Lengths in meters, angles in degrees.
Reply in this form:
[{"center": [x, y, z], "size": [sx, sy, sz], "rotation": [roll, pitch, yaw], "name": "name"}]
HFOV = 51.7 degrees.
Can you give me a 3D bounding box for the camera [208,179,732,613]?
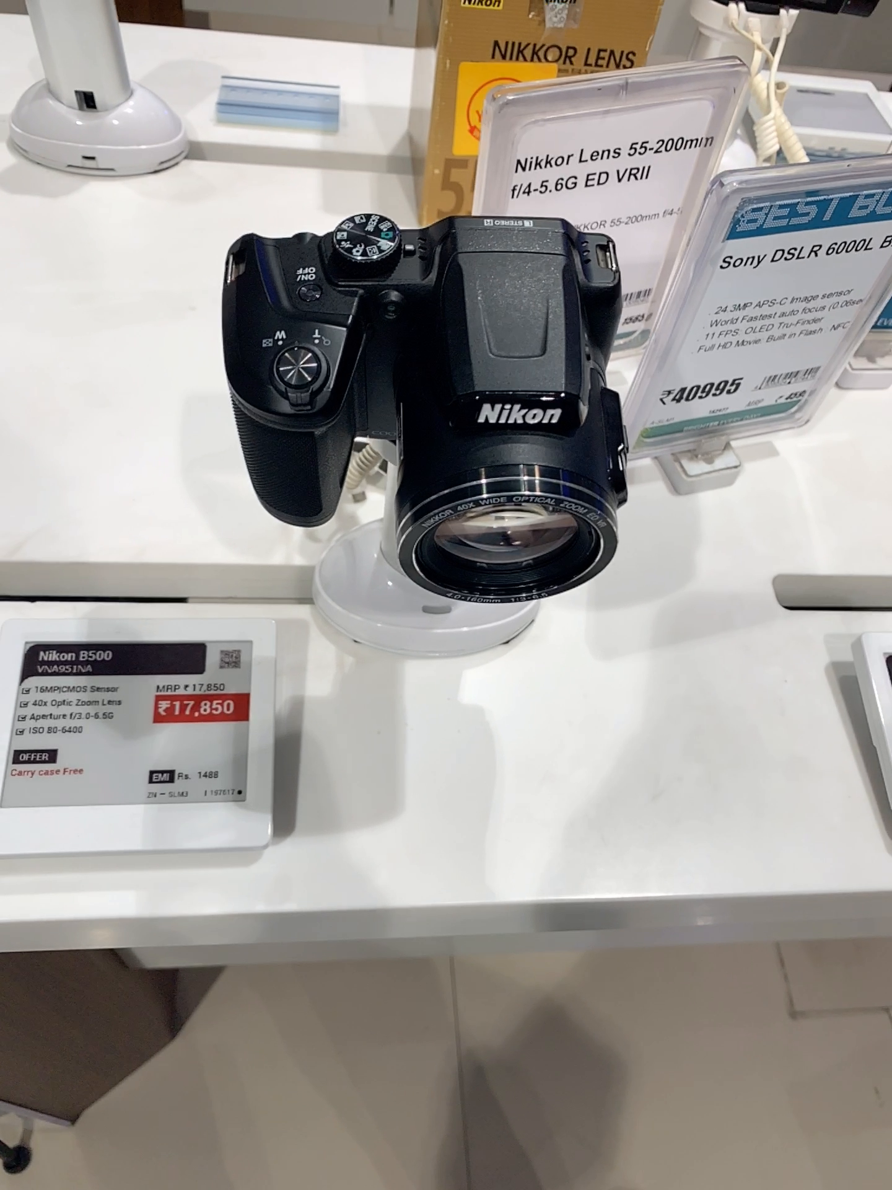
[{"center": [0.001, -0.048, 0.245], "size": [0.112, 0.070, 0.084], "rotation": [1, 63, -8], "name": "camera"}]
